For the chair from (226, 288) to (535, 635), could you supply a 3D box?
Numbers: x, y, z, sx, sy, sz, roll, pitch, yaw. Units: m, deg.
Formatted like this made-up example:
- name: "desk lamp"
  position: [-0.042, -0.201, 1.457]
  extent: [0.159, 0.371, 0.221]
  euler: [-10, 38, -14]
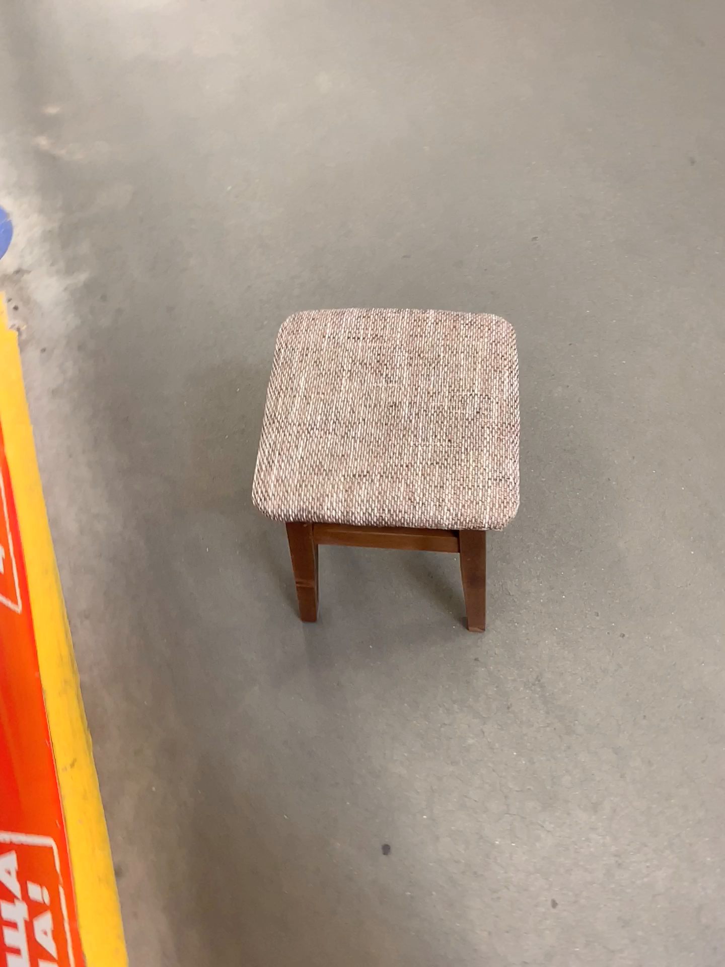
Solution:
- name: "chair"
  position: [0.049, -0.007, 1.149]
  extent: [0.360, 0.479, 0.341]
  euler: [2, 63, 6]
